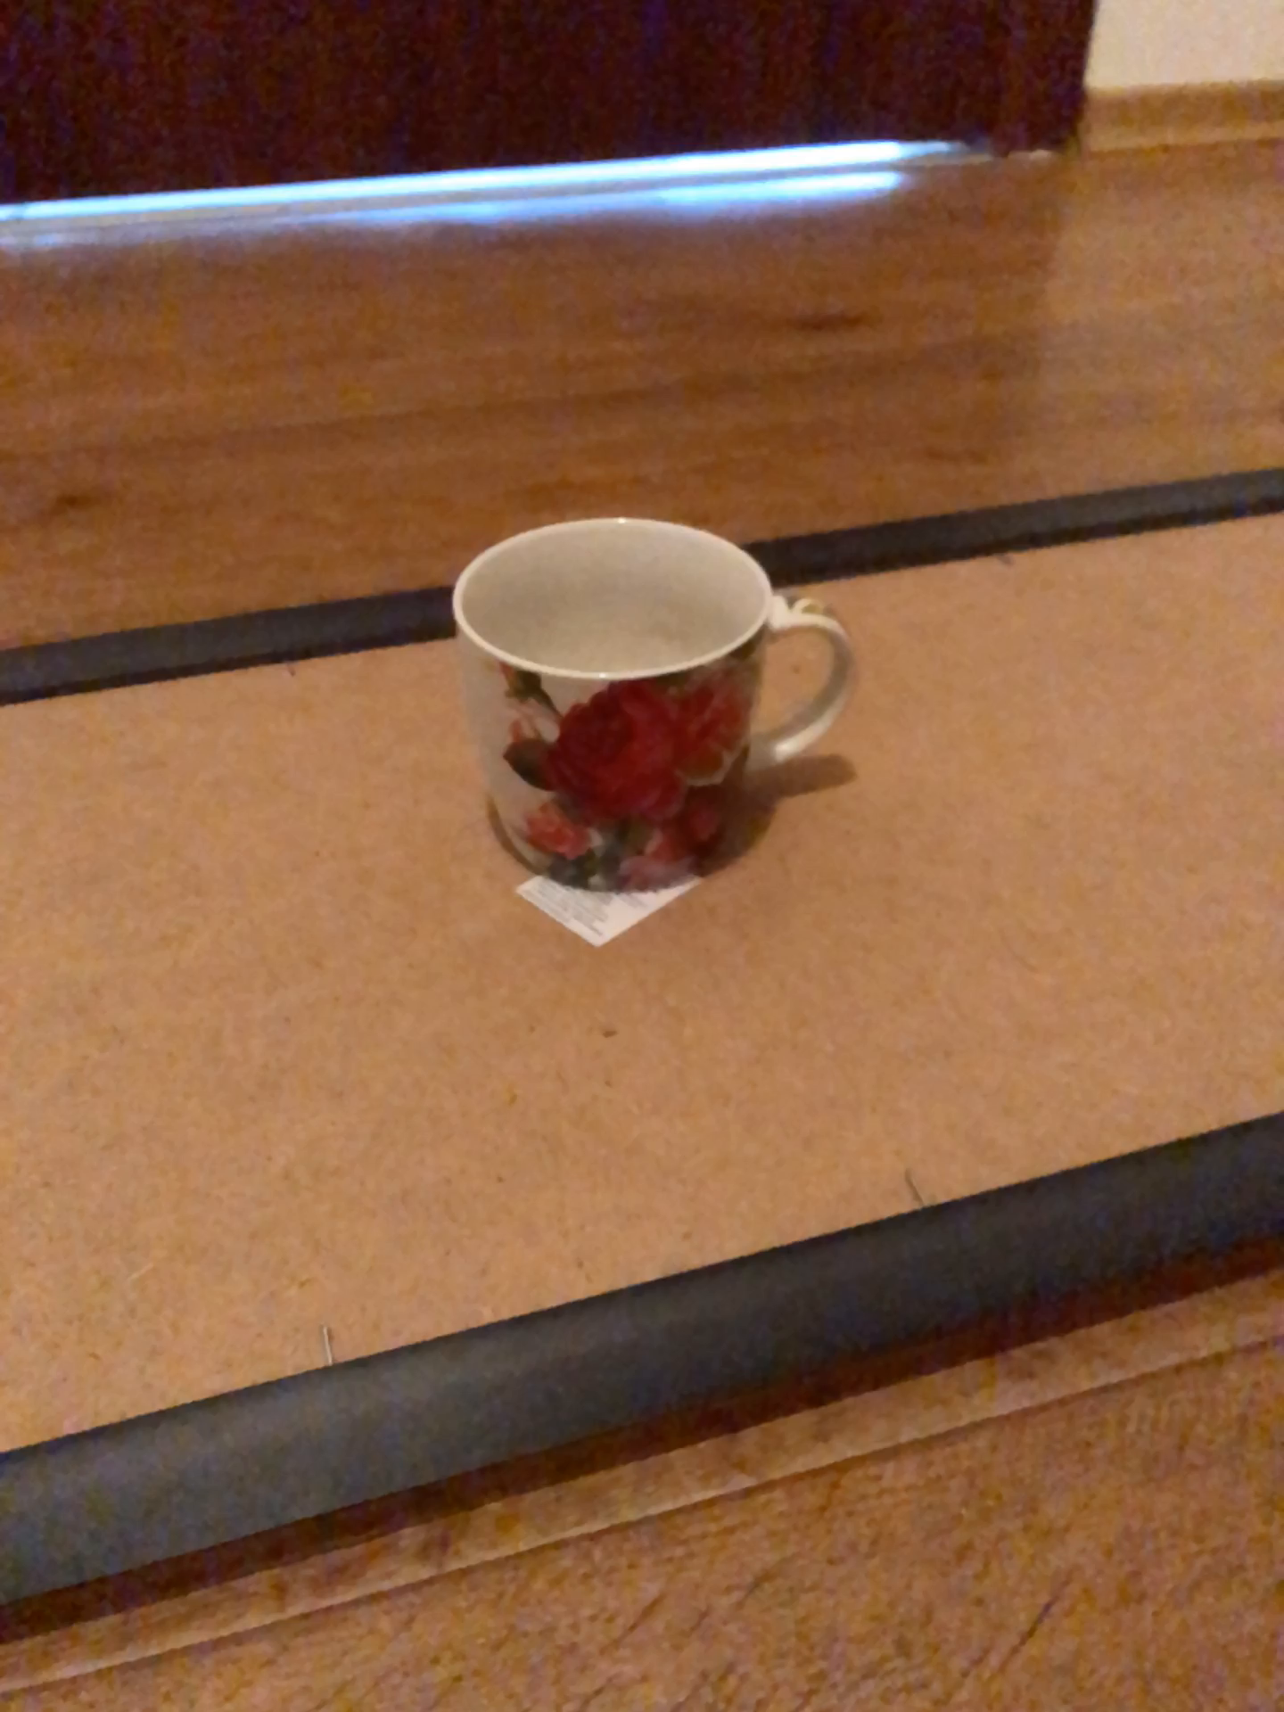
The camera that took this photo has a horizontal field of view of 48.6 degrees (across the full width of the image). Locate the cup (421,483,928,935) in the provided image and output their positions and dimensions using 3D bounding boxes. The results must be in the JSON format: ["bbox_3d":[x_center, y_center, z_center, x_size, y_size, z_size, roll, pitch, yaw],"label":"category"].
[{"bbox_3d":[0.005,-0.049,0.433,0.121,0.079,0.098,-11,39,-14],"label":"cup"}]
